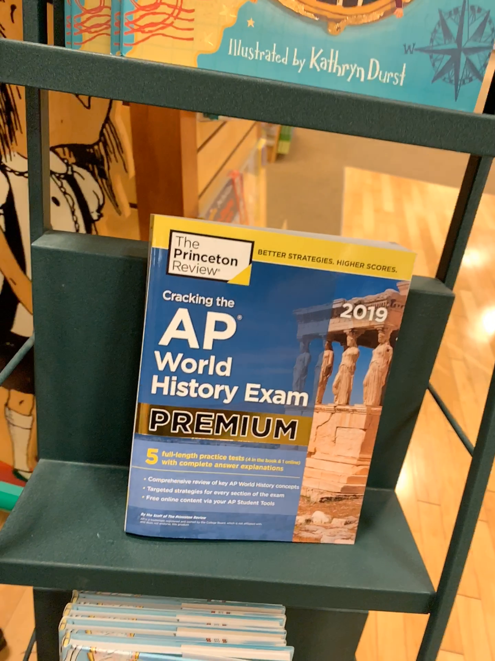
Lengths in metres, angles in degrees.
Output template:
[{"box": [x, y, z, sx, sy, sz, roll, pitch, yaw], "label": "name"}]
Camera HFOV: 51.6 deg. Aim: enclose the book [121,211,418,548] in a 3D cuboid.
[{"box": [0.011, 0.046, 0.444, 0.214, 0.269, 0.057, 5, 12, -6], "label": "book"}]
